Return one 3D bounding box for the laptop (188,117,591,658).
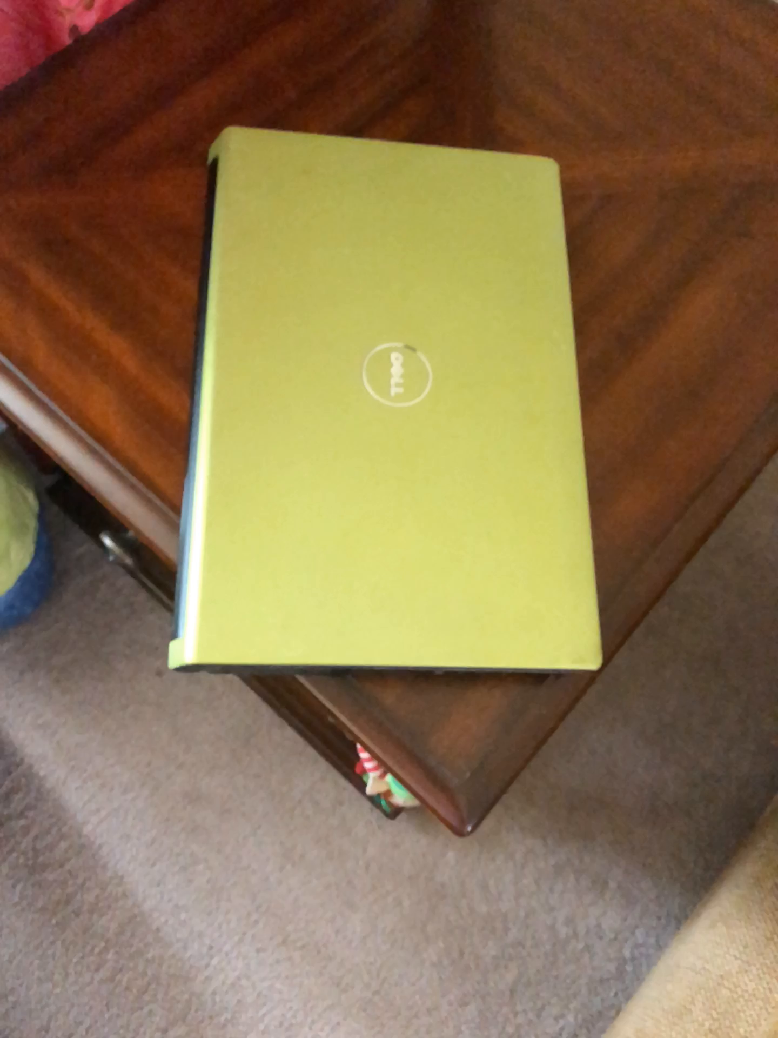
[{"bbox_3d":[0.002,-0.099,0.574,0.236,0.020,0.378,2,70,-8],"label":"laptop"}]
